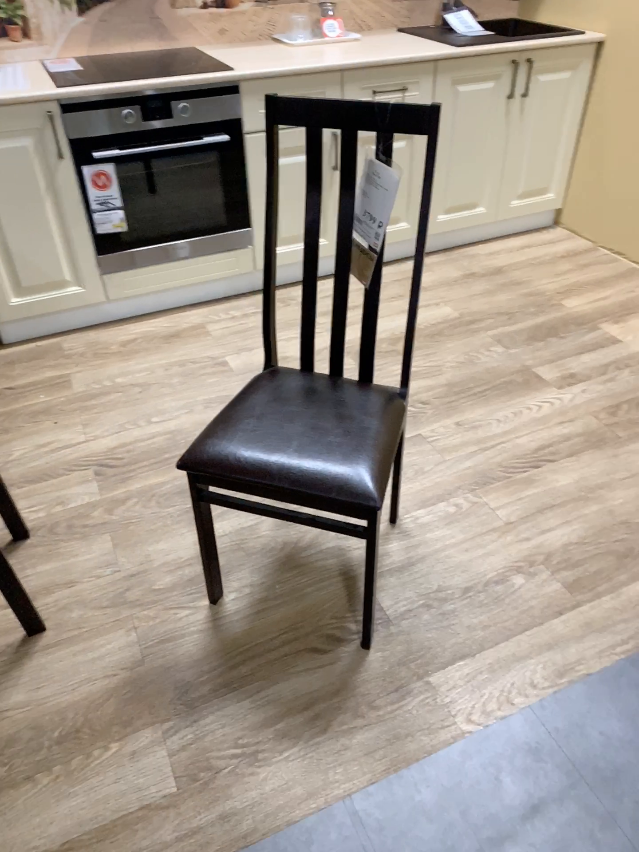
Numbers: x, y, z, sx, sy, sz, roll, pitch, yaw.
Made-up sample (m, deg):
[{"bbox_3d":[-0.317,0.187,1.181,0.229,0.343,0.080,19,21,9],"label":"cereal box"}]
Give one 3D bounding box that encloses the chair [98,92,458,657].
[{"bbox_3d":[-0.020,-0.079,1.337,0.420,0.985,0.493,11,39,15],"label":"chair"}]
